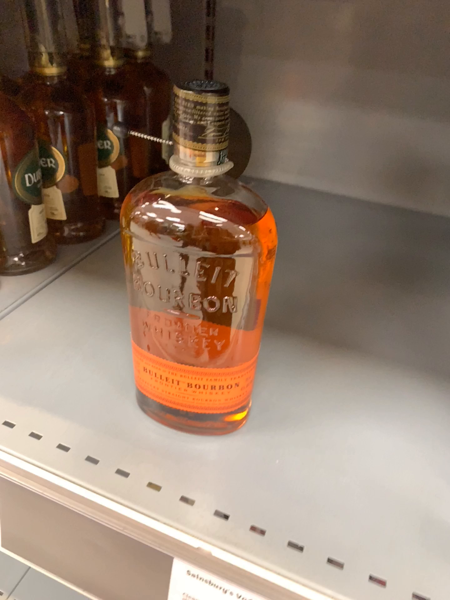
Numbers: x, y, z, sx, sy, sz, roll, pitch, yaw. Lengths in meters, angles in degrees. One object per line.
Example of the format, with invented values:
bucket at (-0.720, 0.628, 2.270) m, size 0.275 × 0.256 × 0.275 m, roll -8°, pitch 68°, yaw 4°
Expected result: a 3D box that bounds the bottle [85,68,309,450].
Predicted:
bottle at (-0.018, -0.015, 0.301) m, size 0.100 × 0.228 × 0.061 m, roll 13°, pitch 35°, yaw 12°
